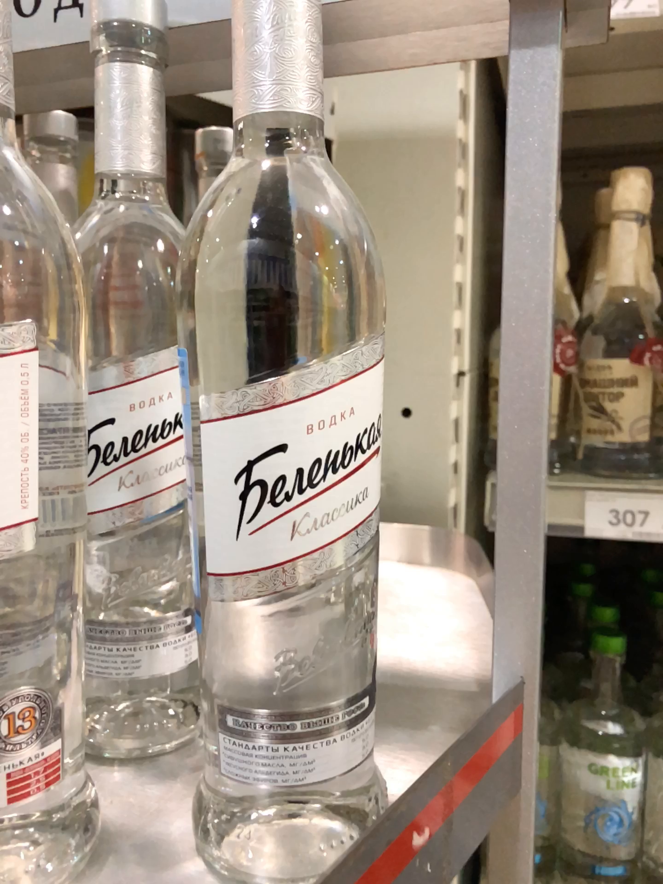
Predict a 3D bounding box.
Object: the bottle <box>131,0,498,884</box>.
[{"bbox_3d":[-0.009,-0.027,0.230,0.080,0.309,0.080,0,6,0],"label":"bottle"}]
